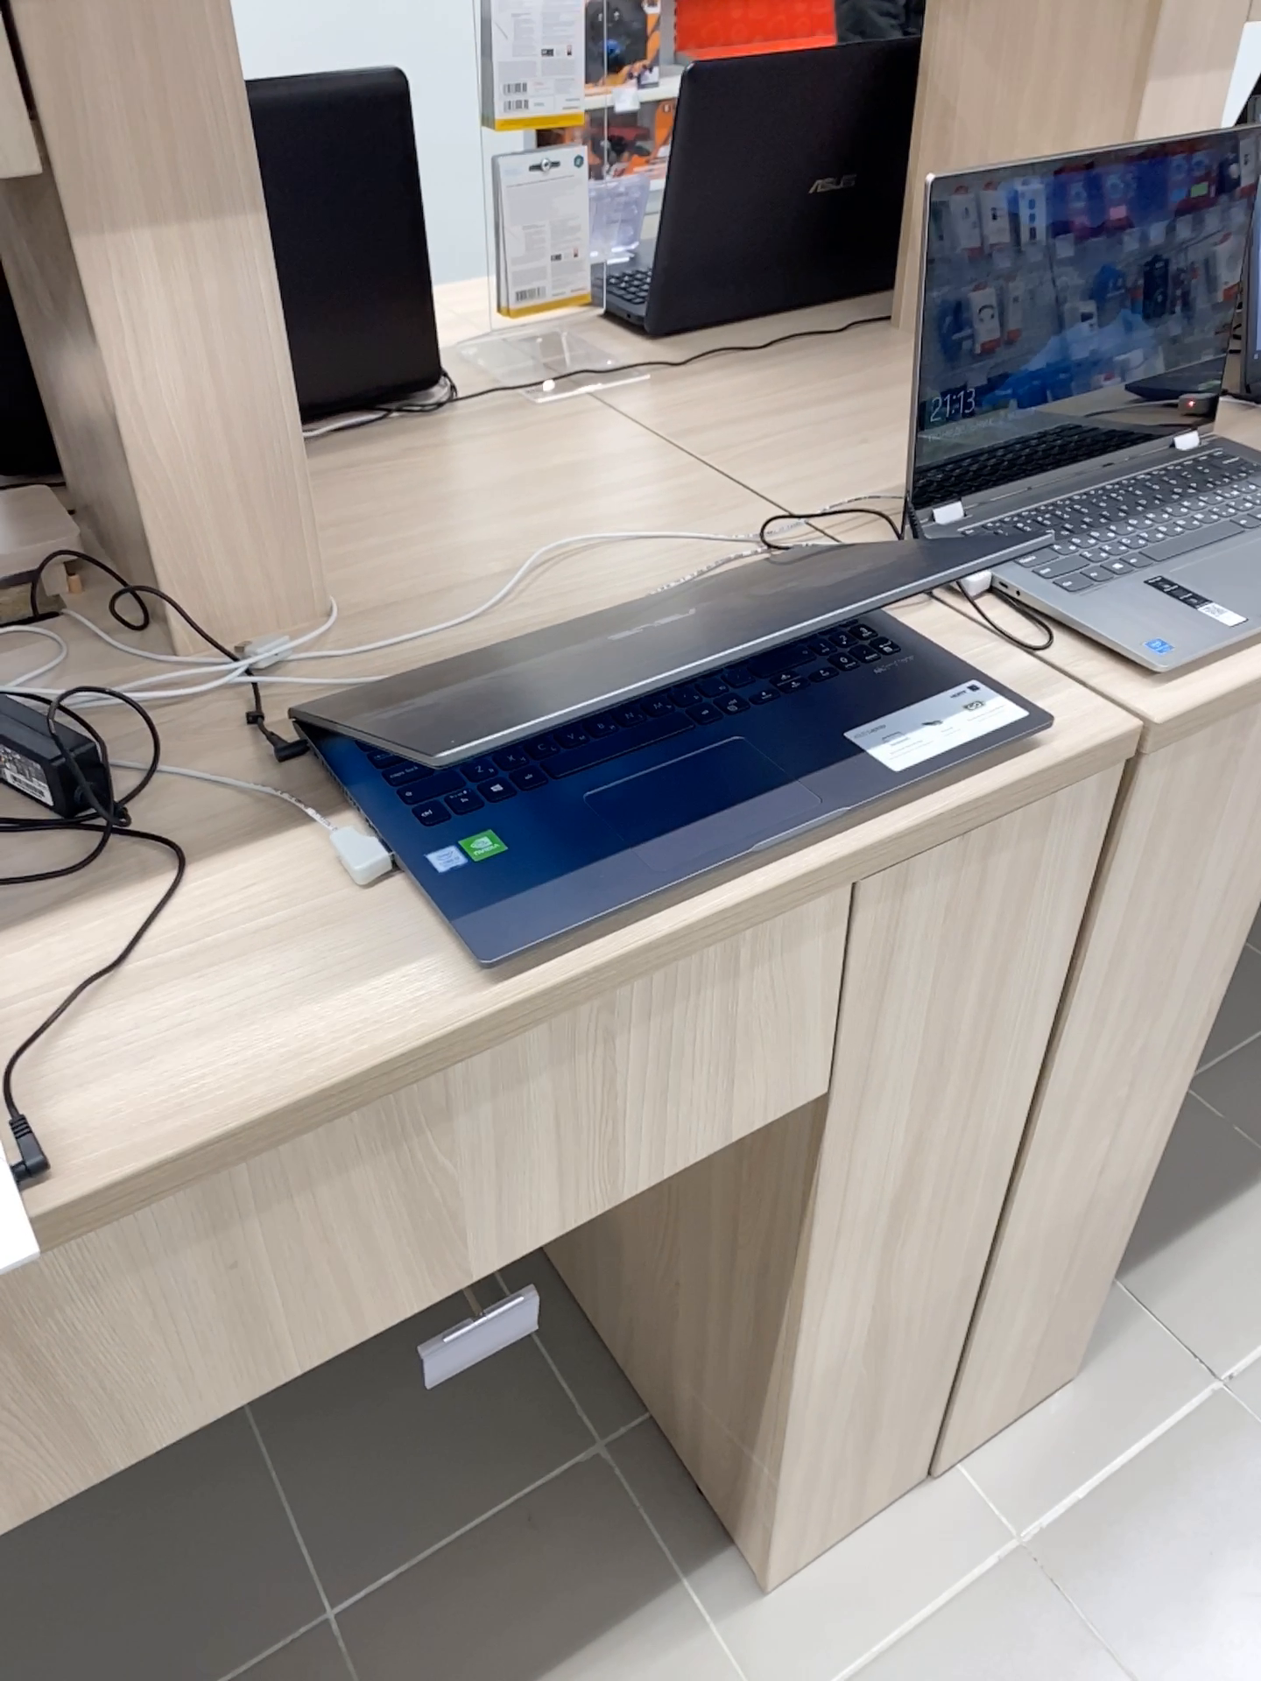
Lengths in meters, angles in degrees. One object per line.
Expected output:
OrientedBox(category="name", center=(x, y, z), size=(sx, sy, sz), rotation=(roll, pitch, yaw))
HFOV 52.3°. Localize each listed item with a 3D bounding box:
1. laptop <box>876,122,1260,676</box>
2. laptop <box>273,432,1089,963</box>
OrientedBox(category="laptop", center=(0.395, -0.315, 0.858), size=(0.352, 0.222, 0.259), rotation=(-22, 44, -26))
OrientedBox(category="laptop", center=(0.025, -0.102, 0.690), size=(0.355, 0.097, 0.230), rotation=(-21, 42, -25))
